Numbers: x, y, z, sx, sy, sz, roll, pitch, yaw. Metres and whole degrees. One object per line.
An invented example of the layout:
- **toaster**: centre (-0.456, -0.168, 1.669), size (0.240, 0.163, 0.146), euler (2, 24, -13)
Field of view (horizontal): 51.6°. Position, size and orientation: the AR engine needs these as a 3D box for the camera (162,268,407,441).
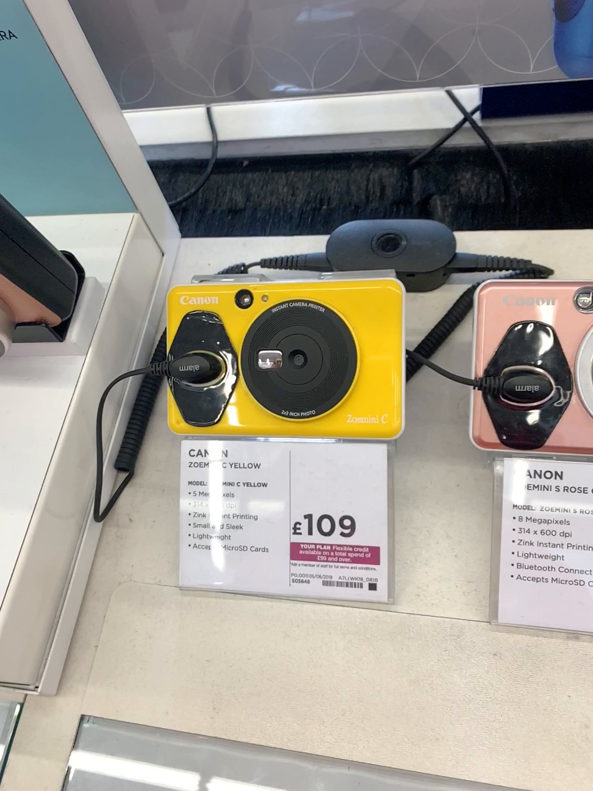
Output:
- **camera**: centre (-0.006, -0.019, 0.306), size (0.120, 0.020, 0.080), euler (0, 92, 12)
